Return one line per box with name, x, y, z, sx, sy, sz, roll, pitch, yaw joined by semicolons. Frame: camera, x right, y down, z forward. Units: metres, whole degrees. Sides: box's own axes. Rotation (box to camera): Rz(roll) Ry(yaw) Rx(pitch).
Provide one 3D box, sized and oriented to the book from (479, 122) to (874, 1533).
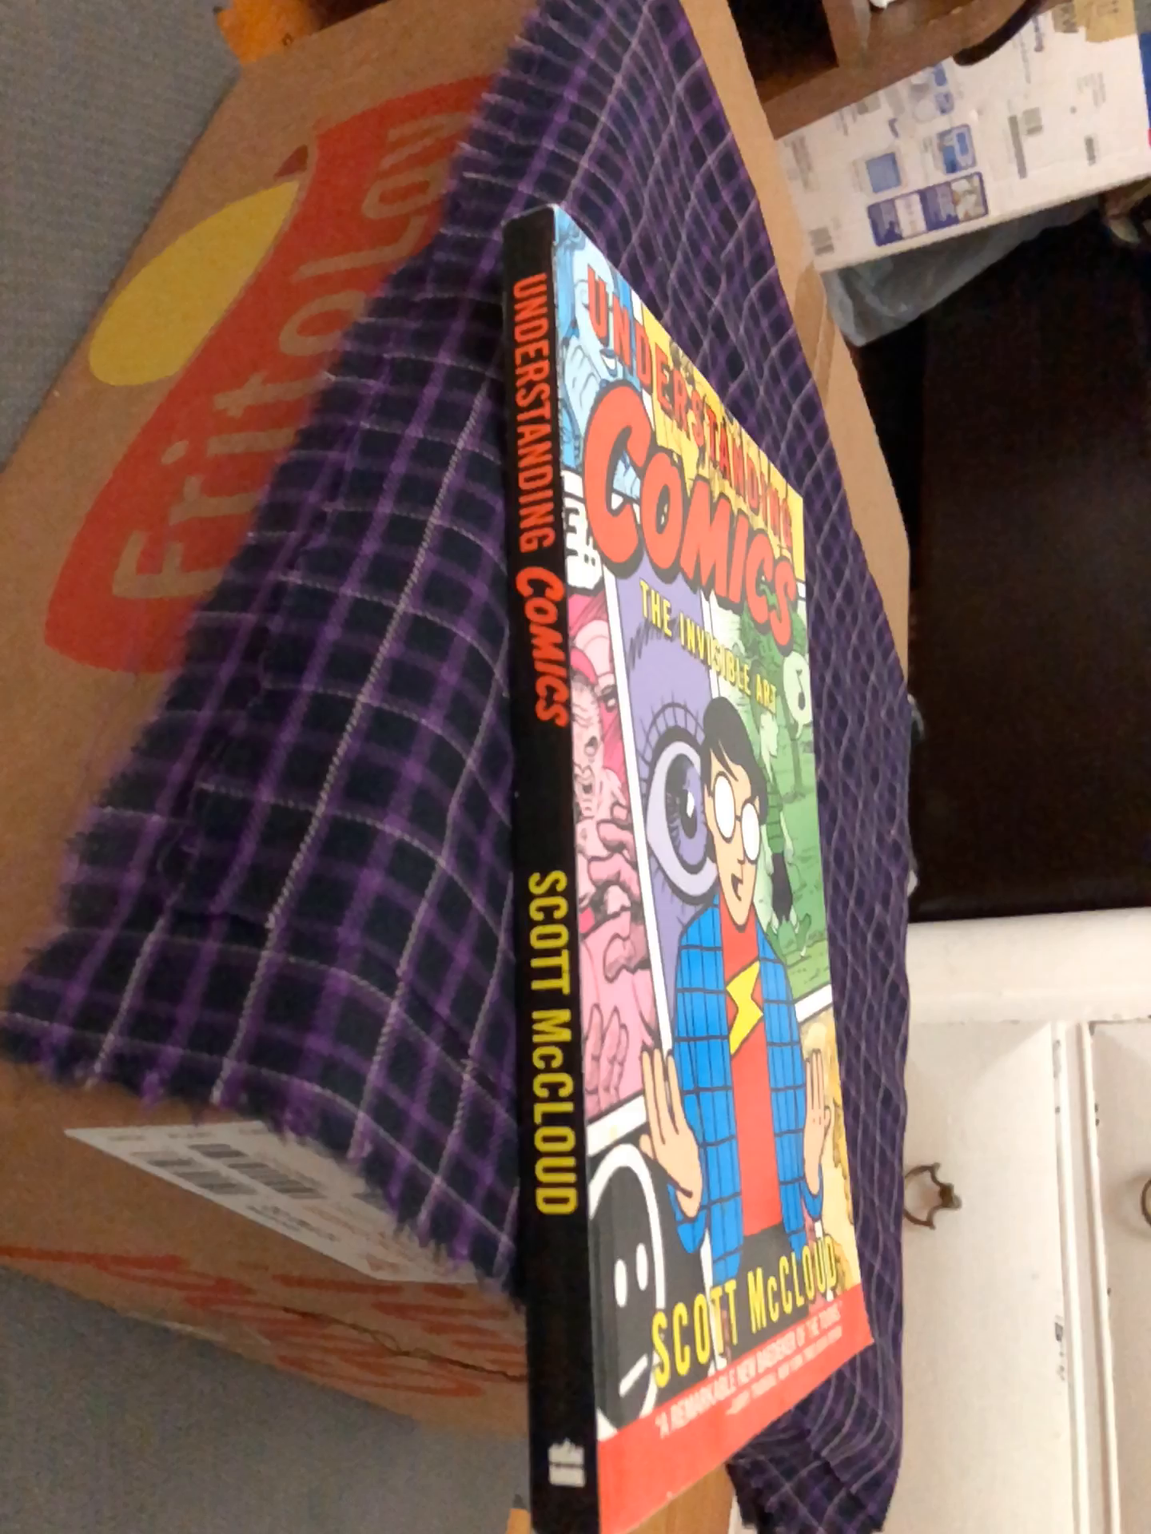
book;0.031;0.016;0.310;0.171;0.020;0.270;24;61;-61
